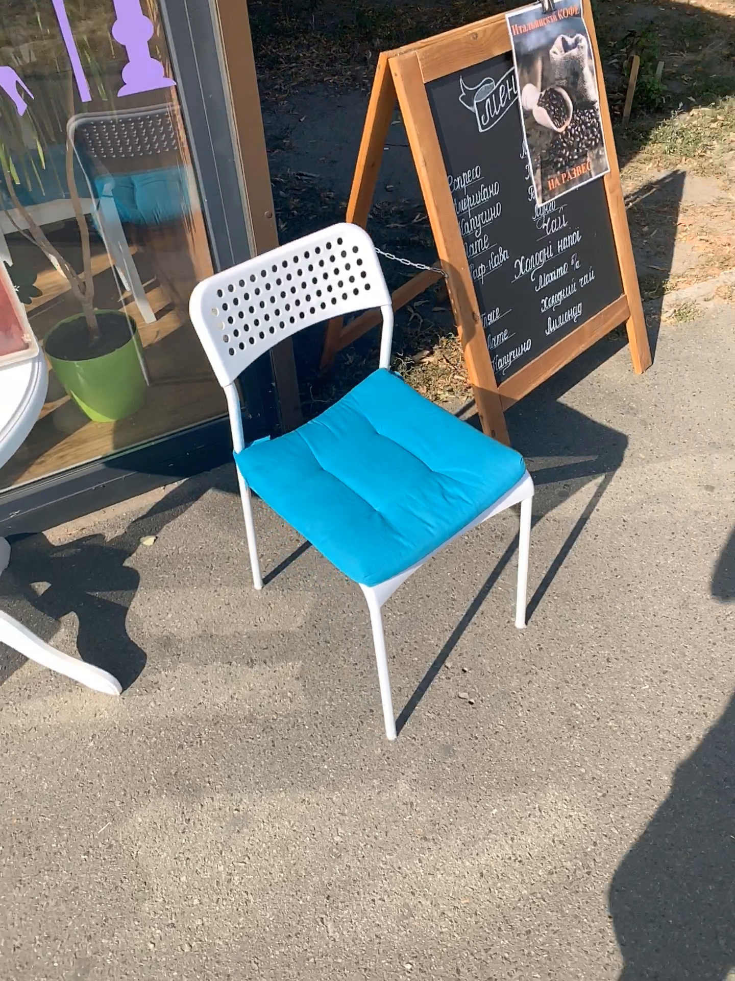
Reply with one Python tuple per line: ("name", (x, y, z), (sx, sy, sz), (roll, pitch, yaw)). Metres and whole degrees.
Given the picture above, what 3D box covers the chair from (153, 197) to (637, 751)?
("chair", (0.043, -0.036, 1.355), (0.481, 0.697, 0.542), (-33, 51, -27))
